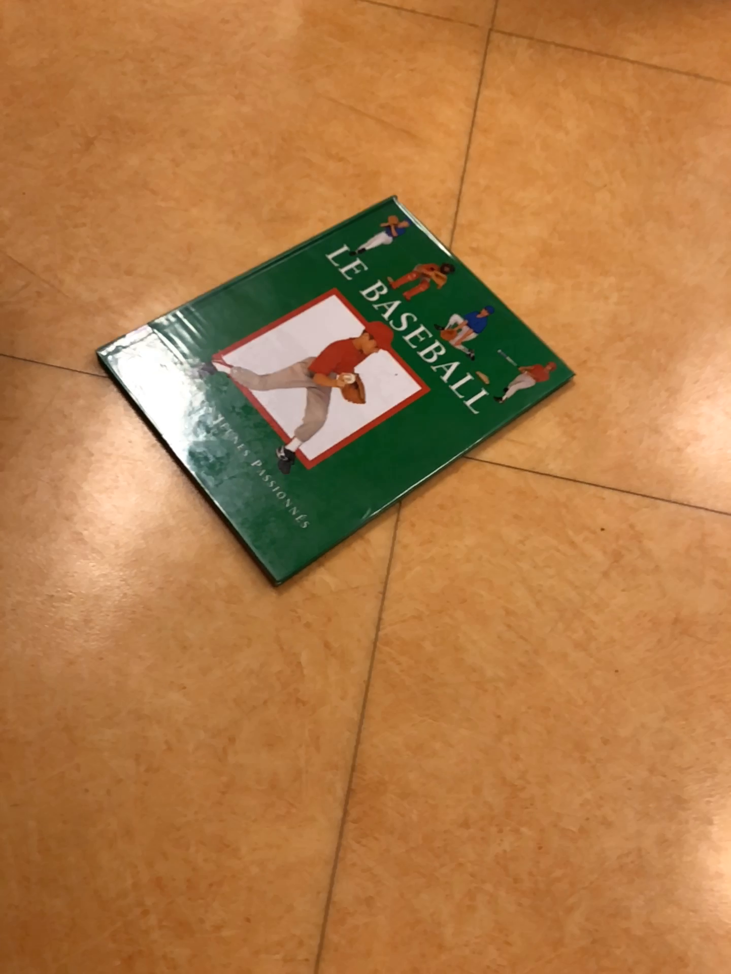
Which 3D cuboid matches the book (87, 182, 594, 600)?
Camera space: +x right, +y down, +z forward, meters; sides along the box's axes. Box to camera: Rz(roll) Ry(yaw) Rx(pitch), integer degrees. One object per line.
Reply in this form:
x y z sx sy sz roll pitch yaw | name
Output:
-0.012 -0.087 0.572 0.281 0.020 0.219 -34 72 -22 | book
